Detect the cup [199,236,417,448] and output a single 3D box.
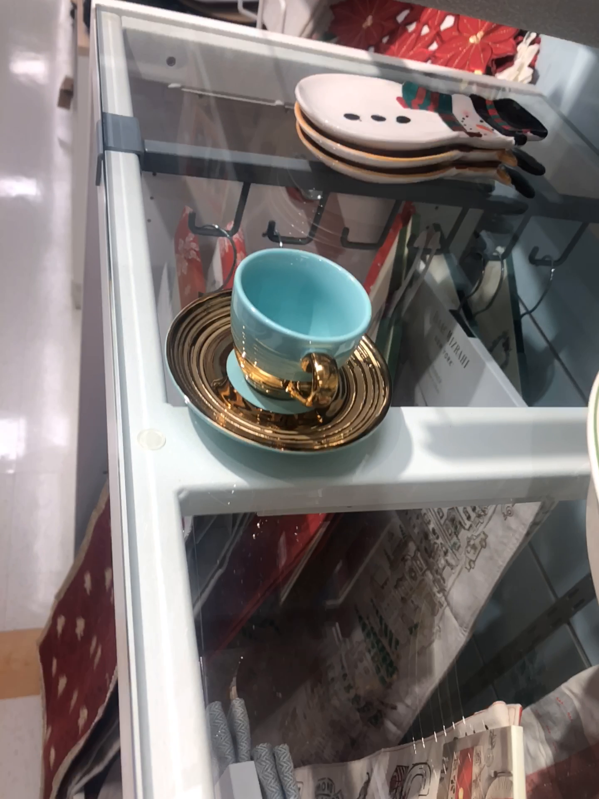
[{"bbox_3d":[-0.001,-0.028,0.308,0.070,0.050,0.084,-2,48,-22],"label":"cup"}]
